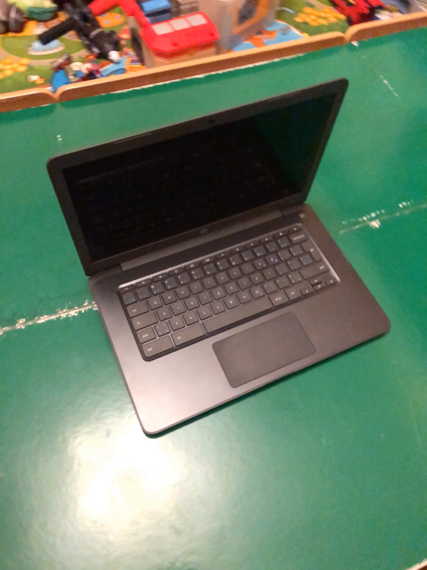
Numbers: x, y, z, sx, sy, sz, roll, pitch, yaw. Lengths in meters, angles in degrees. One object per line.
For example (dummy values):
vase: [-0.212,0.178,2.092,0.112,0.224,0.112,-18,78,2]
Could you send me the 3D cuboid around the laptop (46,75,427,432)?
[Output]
laptop: [0.030,-0.032,0.503,0.317,0.204,0.211,-21,63,-13]
